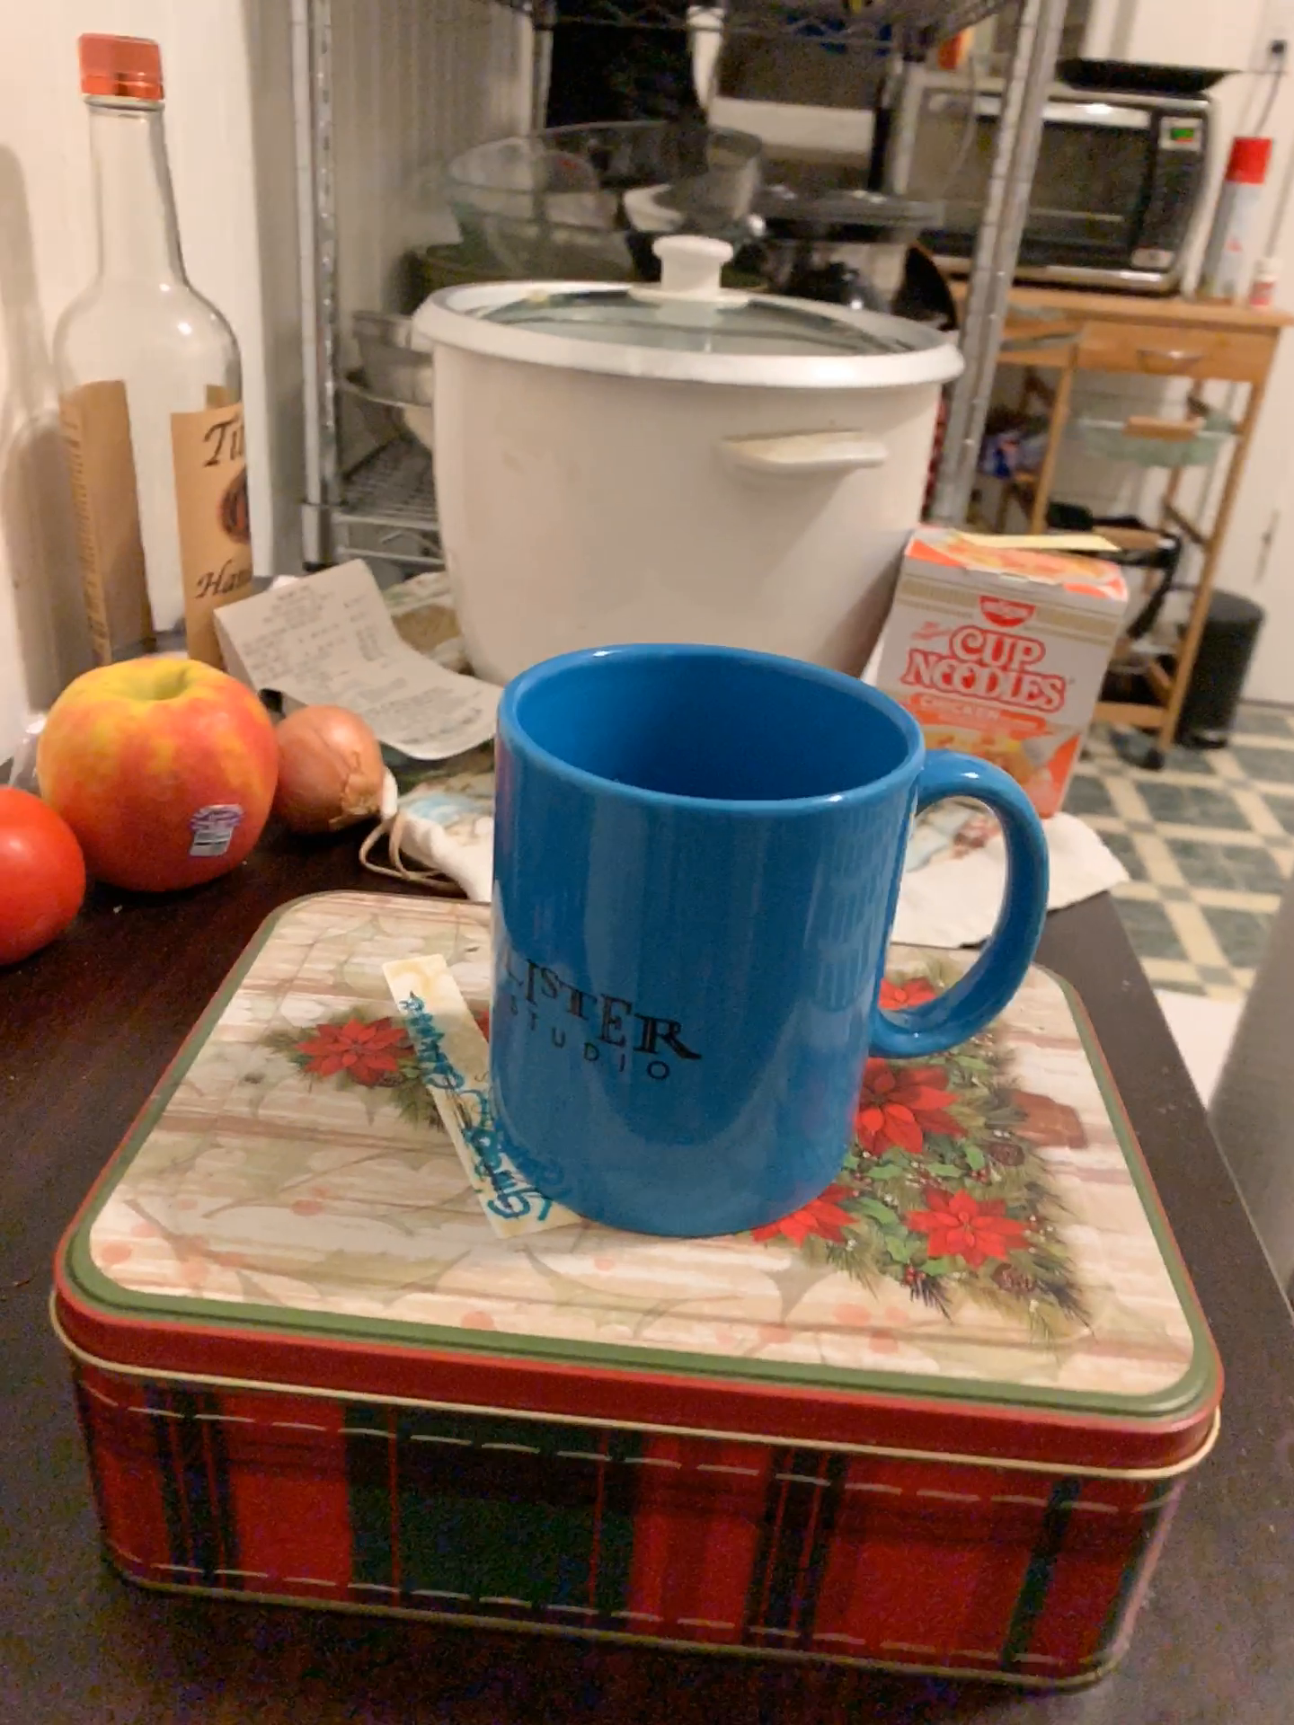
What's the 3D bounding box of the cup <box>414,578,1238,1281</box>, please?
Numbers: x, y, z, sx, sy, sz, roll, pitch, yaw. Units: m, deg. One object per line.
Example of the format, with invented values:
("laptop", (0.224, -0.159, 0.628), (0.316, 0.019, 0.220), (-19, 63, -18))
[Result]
("cup", (0.025, 0.005, 0.277), (0.130, 0.099, 0.091), (-5, 29, -19))
